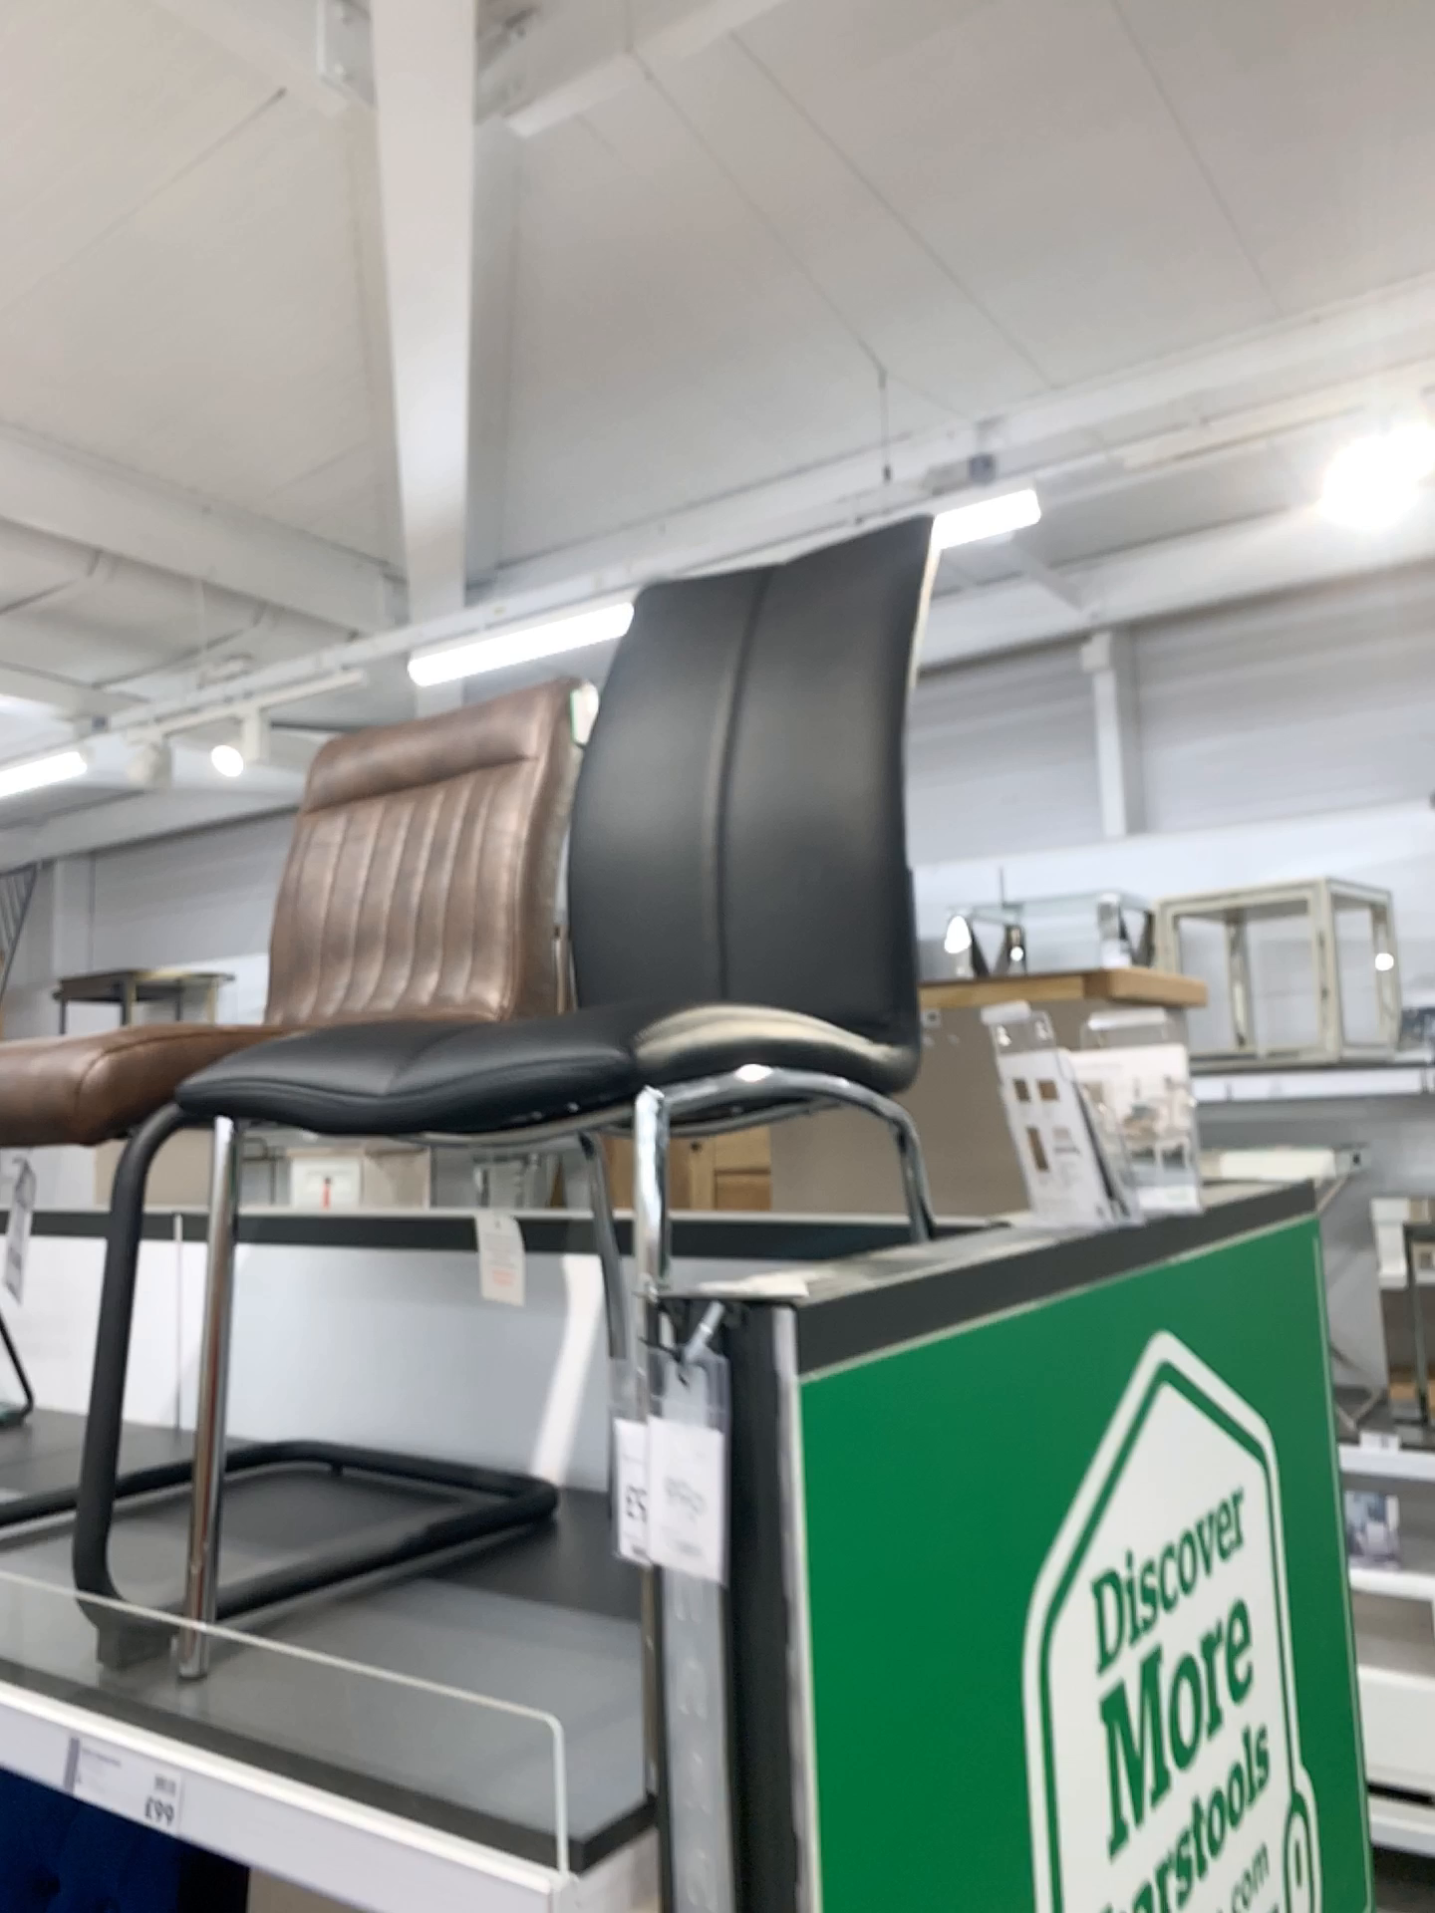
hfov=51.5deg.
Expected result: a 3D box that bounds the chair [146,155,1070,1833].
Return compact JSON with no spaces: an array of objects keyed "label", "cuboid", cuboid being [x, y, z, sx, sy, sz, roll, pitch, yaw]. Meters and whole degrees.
[{"label":"chair","cuboid":[-0.068,0.027,1.250,0.474,0.997,0.582,-7,-9,33]}]

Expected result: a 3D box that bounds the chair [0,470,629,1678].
[{"label":"chair","cuboid":[-0.499,0.108,1.490,0.554,0.886,0.582,-7,-9,37]}]
